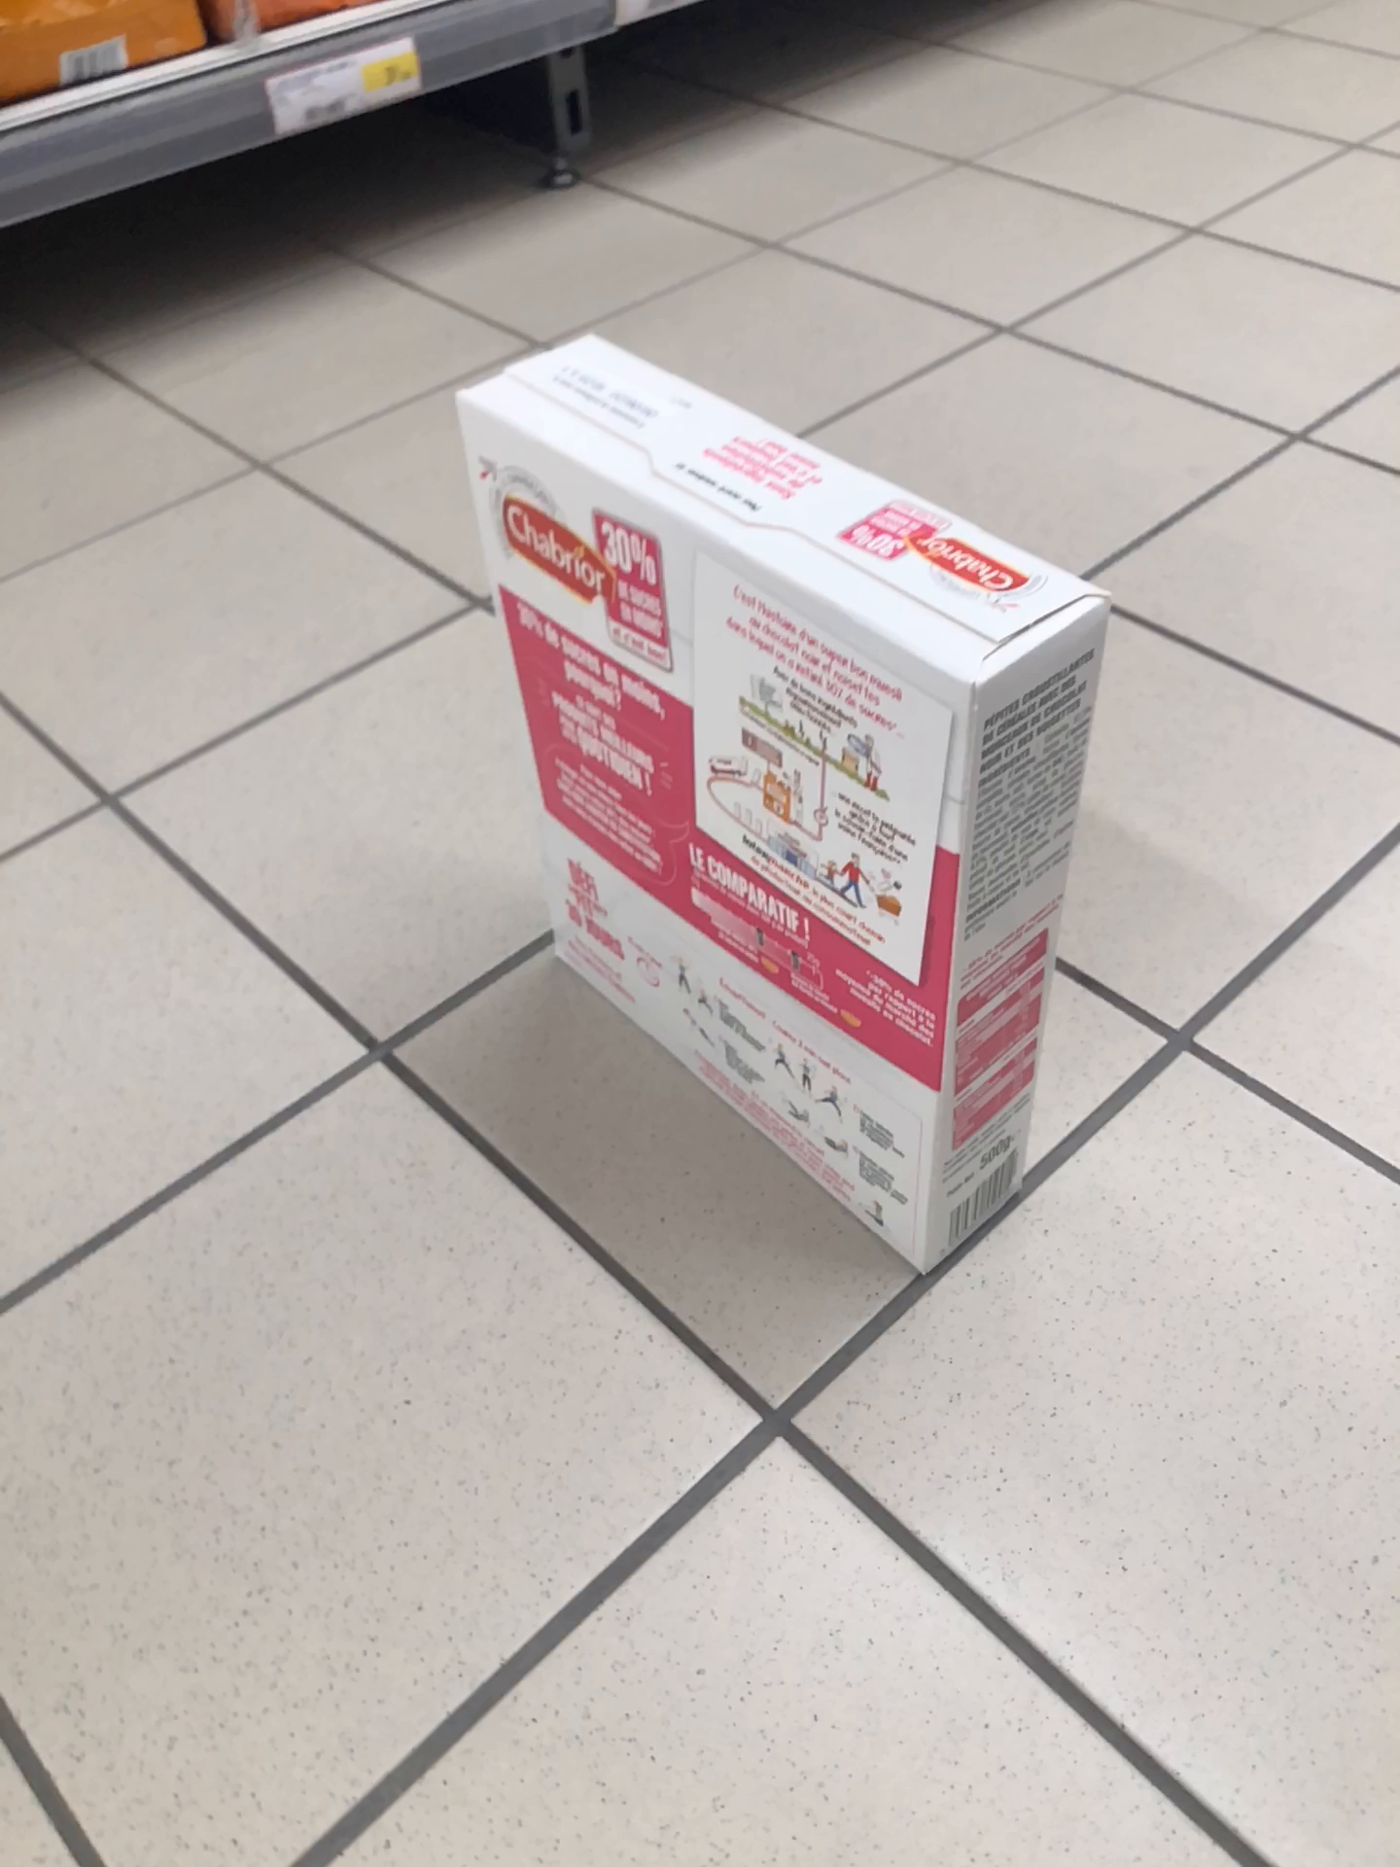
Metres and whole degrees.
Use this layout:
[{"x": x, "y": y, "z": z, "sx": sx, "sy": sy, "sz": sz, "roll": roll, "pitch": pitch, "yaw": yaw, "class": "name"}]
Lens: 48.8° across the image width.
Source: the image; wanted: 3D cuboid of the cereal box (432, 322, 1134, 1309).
[{"x": 0.017, "y": -0.030, "z": 0.466, "sx": 0.050, "sy": 0.239, "sz": 0.200, "roll": -33, "pitch": 52, "yaw": -26, "class": "cereal box"}]
